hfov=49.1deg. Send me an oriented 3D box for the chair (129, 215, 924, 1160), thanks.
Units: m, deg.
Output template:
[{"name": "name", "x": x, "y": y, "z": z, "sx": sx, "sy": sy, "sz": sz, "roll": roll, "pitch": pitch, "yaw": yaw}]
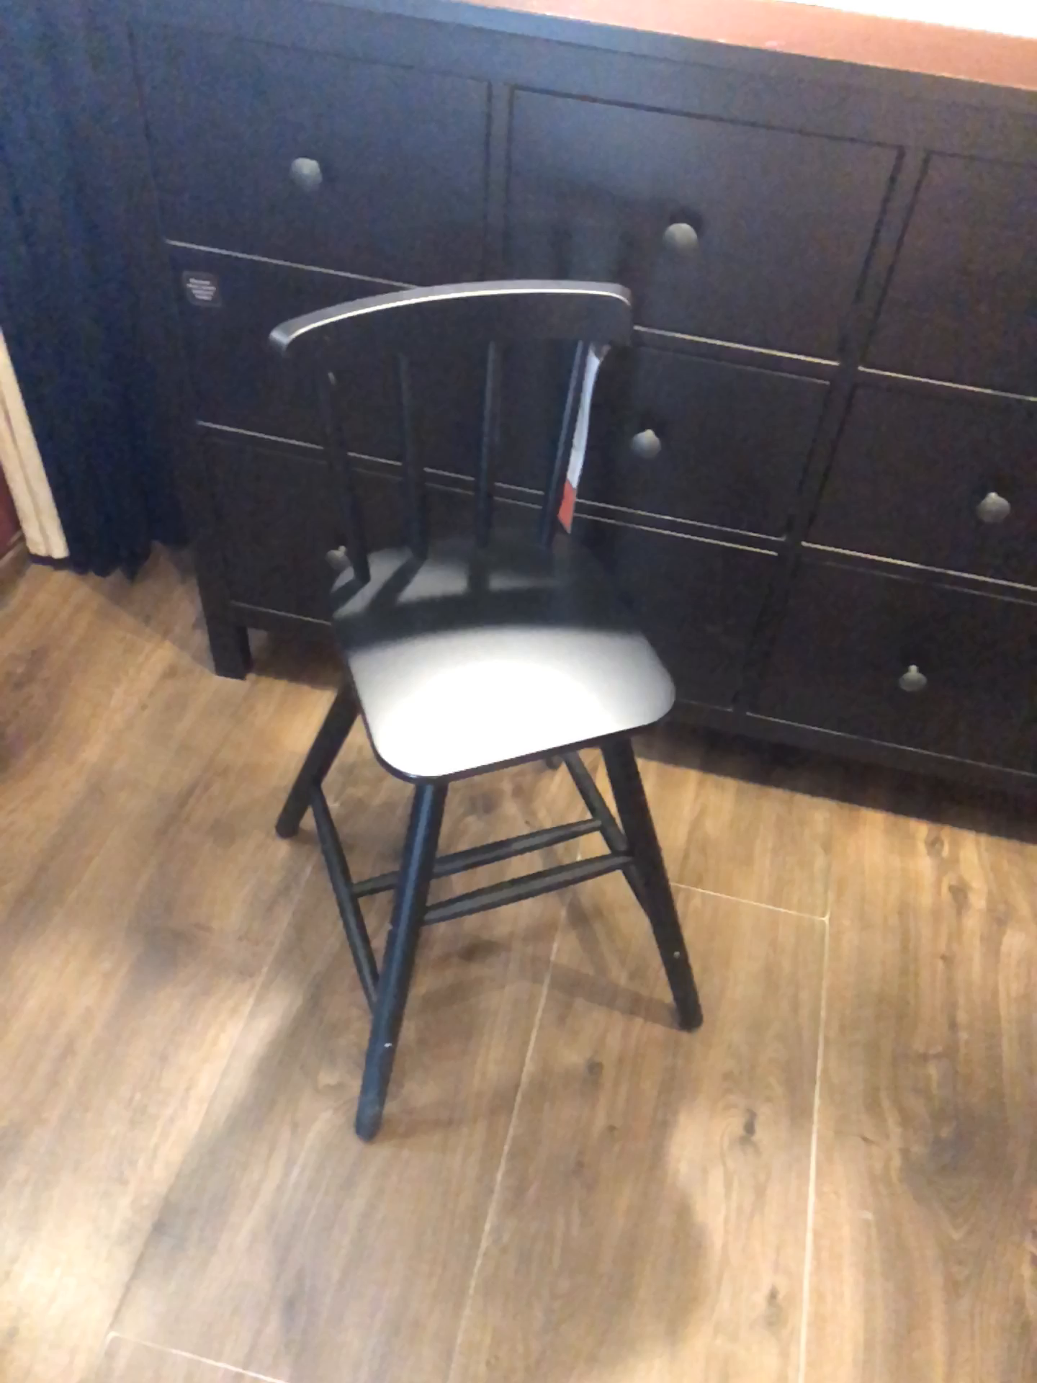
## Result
[{"name": "chair", "x": -0.044, "y": 0.019, "z": 1.100, "sx": 0.450, "sy": 0.716, "sz": 0.473, "roll": -13, "pitch": 50, "yaw": -16}]
